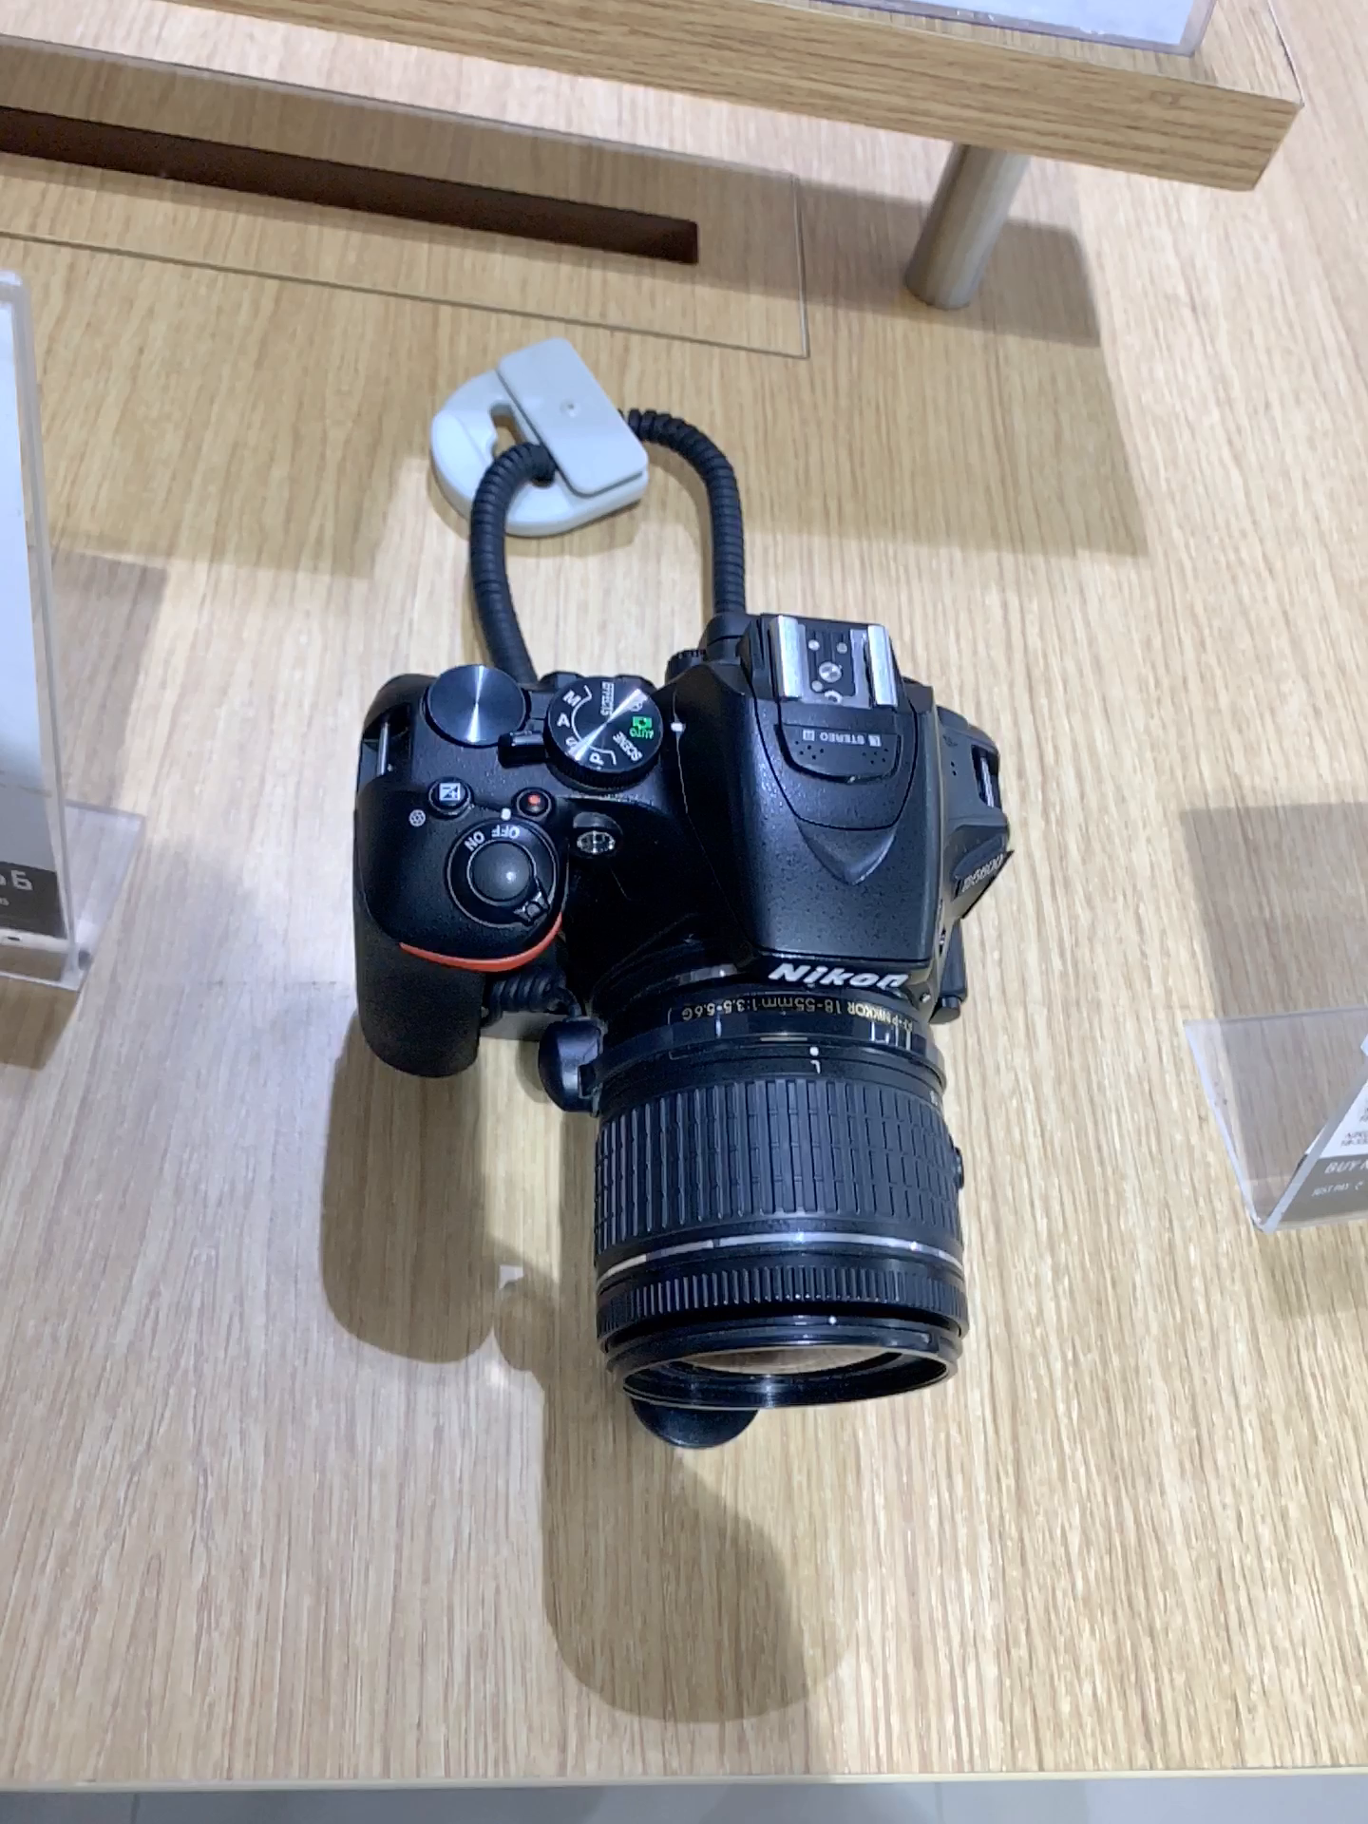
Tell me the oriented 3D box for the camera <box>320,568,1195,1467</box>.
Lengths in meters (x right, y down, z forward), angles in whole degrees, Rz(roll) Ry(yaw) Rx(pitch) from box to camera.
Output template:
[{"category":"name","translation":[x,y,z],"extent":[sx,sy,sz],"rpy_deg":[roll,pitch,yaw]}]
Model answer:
[{"category":"camera","translation":[0.001,0.021,0.235],"extent":[0.110,0.080,0.120],"rpy_deg":[3,61,-11]}]
